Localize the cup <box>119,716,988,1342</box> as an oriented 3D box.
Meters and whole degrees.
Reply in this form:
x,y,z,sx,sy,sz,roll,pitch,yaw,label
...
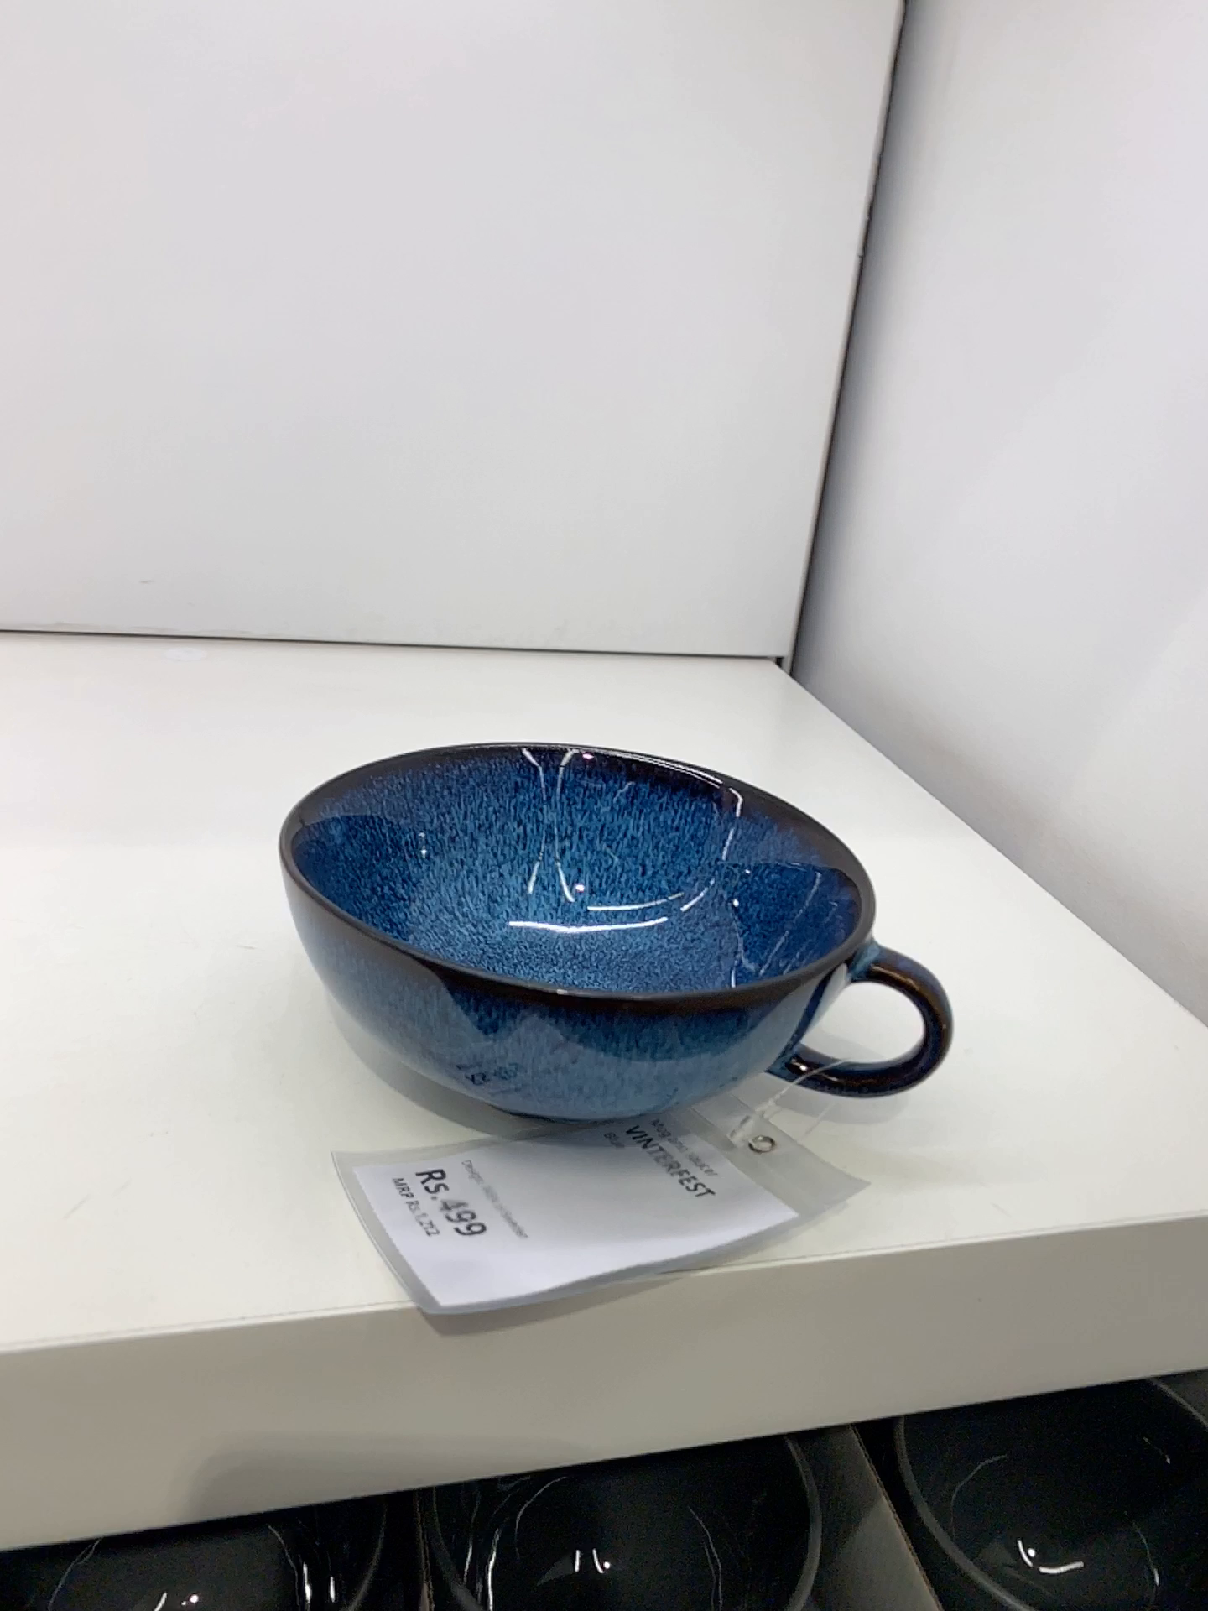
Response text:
x,y,z,sx,sy,sz,roll,pitch,yaw,label
0.000,0.035,0.286,0.160,0.050,0.130,11,22,12,cup
